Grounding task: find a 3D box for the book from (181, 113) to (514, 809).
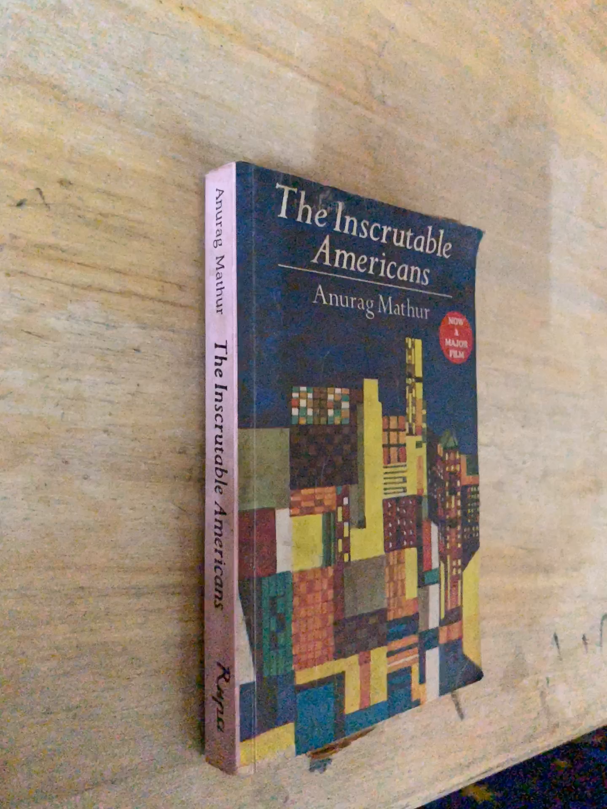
[{"bbox_3d":[0.021,0.014,0.214,0.121,0.030,0.180,1,87,-39],"label":"book"}]
